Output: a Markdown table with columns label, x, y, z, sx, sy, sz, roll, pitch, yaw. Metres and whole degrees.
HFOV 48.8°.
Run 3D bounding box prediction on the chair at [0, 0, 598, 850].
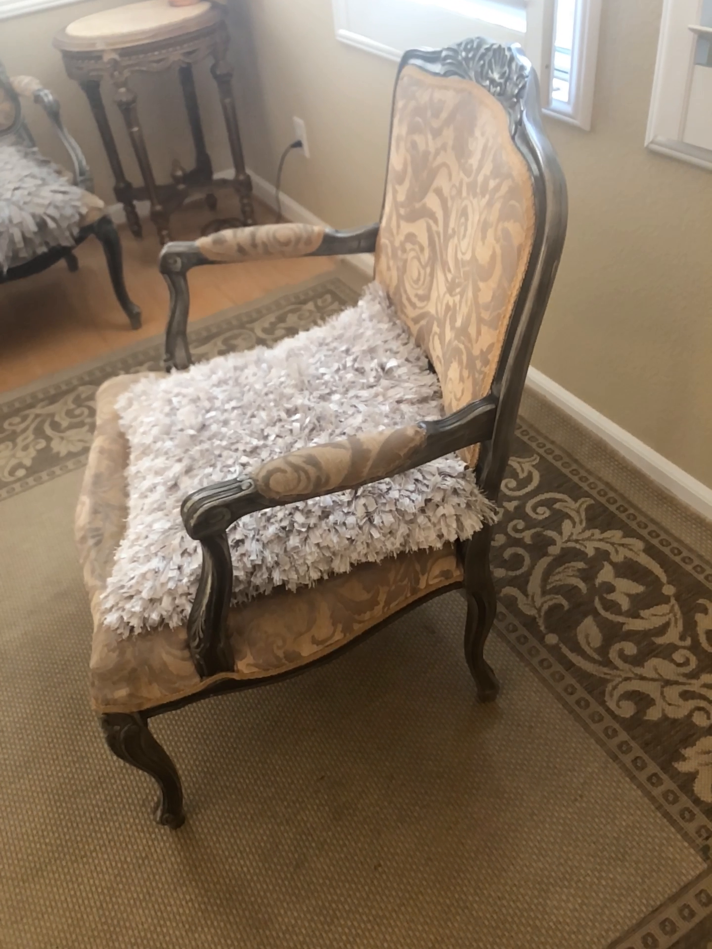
| label | x | y | z | sx | sy | sz | roll | pitch | yaw |
| --- | --- | --- | --- | --- | --- | --- | --- | --- | --- |
| chair | -0.158 | -0.110 | 1.181 | 0.650 | 0.972 | 0.766 | -13 | 42 | -6 |
